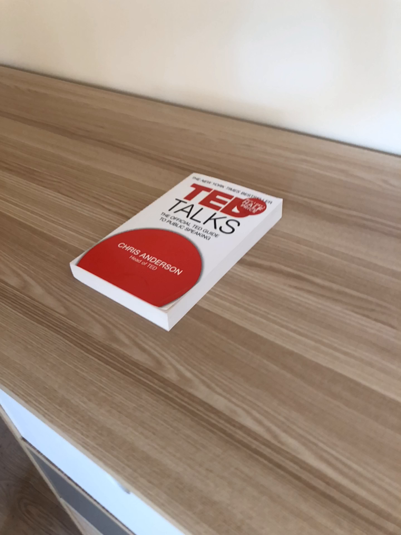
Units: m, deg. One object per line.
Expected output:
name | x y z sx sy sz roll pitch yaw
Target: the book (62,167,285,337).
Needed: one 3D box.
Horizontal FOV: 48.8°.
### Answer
book | -0.021 -0.034 0.496 0.138 0.030 0.221 24 49 29
